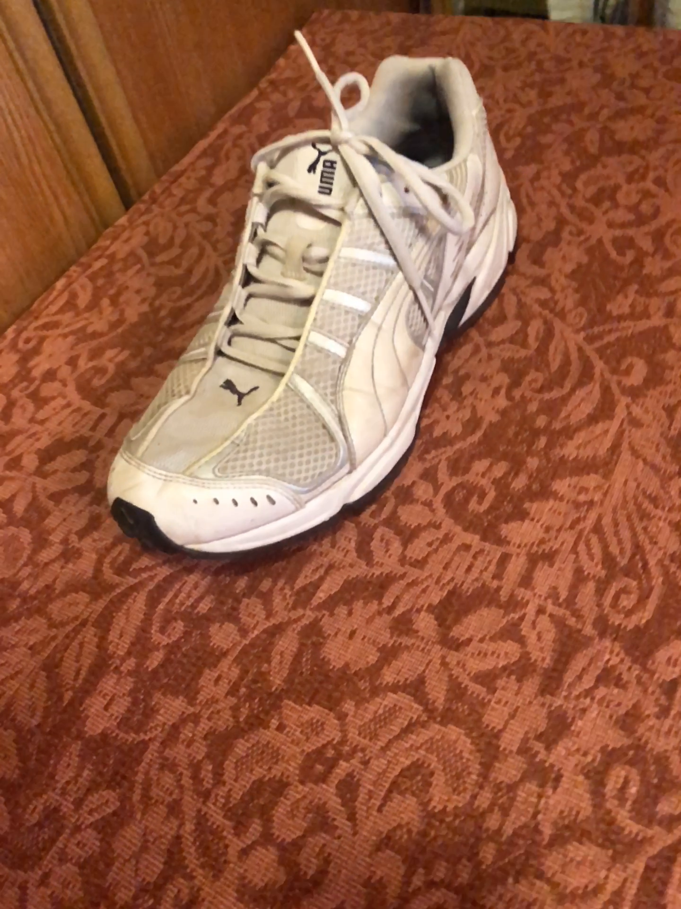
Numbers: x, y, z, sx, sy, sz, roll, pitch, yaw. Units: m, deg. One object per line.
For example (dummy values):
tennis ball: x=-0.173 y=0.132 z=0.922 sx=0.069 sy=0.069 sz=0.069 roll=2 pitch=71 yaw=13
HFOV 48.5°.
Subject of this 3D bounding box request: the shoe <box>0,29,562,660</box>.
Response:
shoe: x=-0.001 y=-0.073 z=0.344 sx=0.100 sy=0.100 sz=0.291 roll=18 pitch=57 yaw=26
